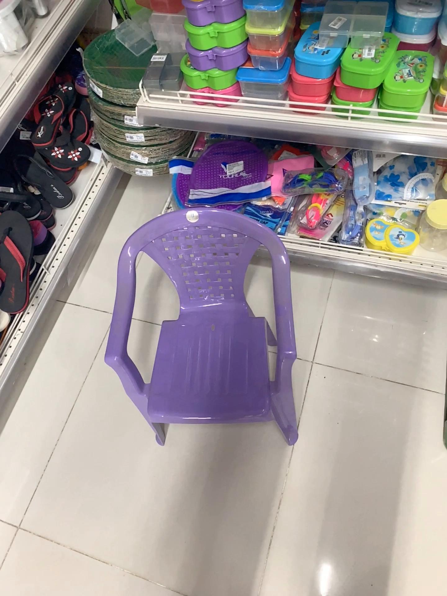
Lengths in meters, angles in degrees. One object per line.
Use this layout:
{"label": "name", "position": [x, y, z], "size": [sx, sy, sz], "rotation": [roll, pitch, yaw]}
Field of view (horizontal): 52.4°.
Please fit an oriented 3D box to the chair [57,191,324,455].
{"label": "chair", "position": [-0.029, 0.089, 0.984], "size": [0.420, 0.429, 0.401], "rotation": [-4, 62, 7]}
